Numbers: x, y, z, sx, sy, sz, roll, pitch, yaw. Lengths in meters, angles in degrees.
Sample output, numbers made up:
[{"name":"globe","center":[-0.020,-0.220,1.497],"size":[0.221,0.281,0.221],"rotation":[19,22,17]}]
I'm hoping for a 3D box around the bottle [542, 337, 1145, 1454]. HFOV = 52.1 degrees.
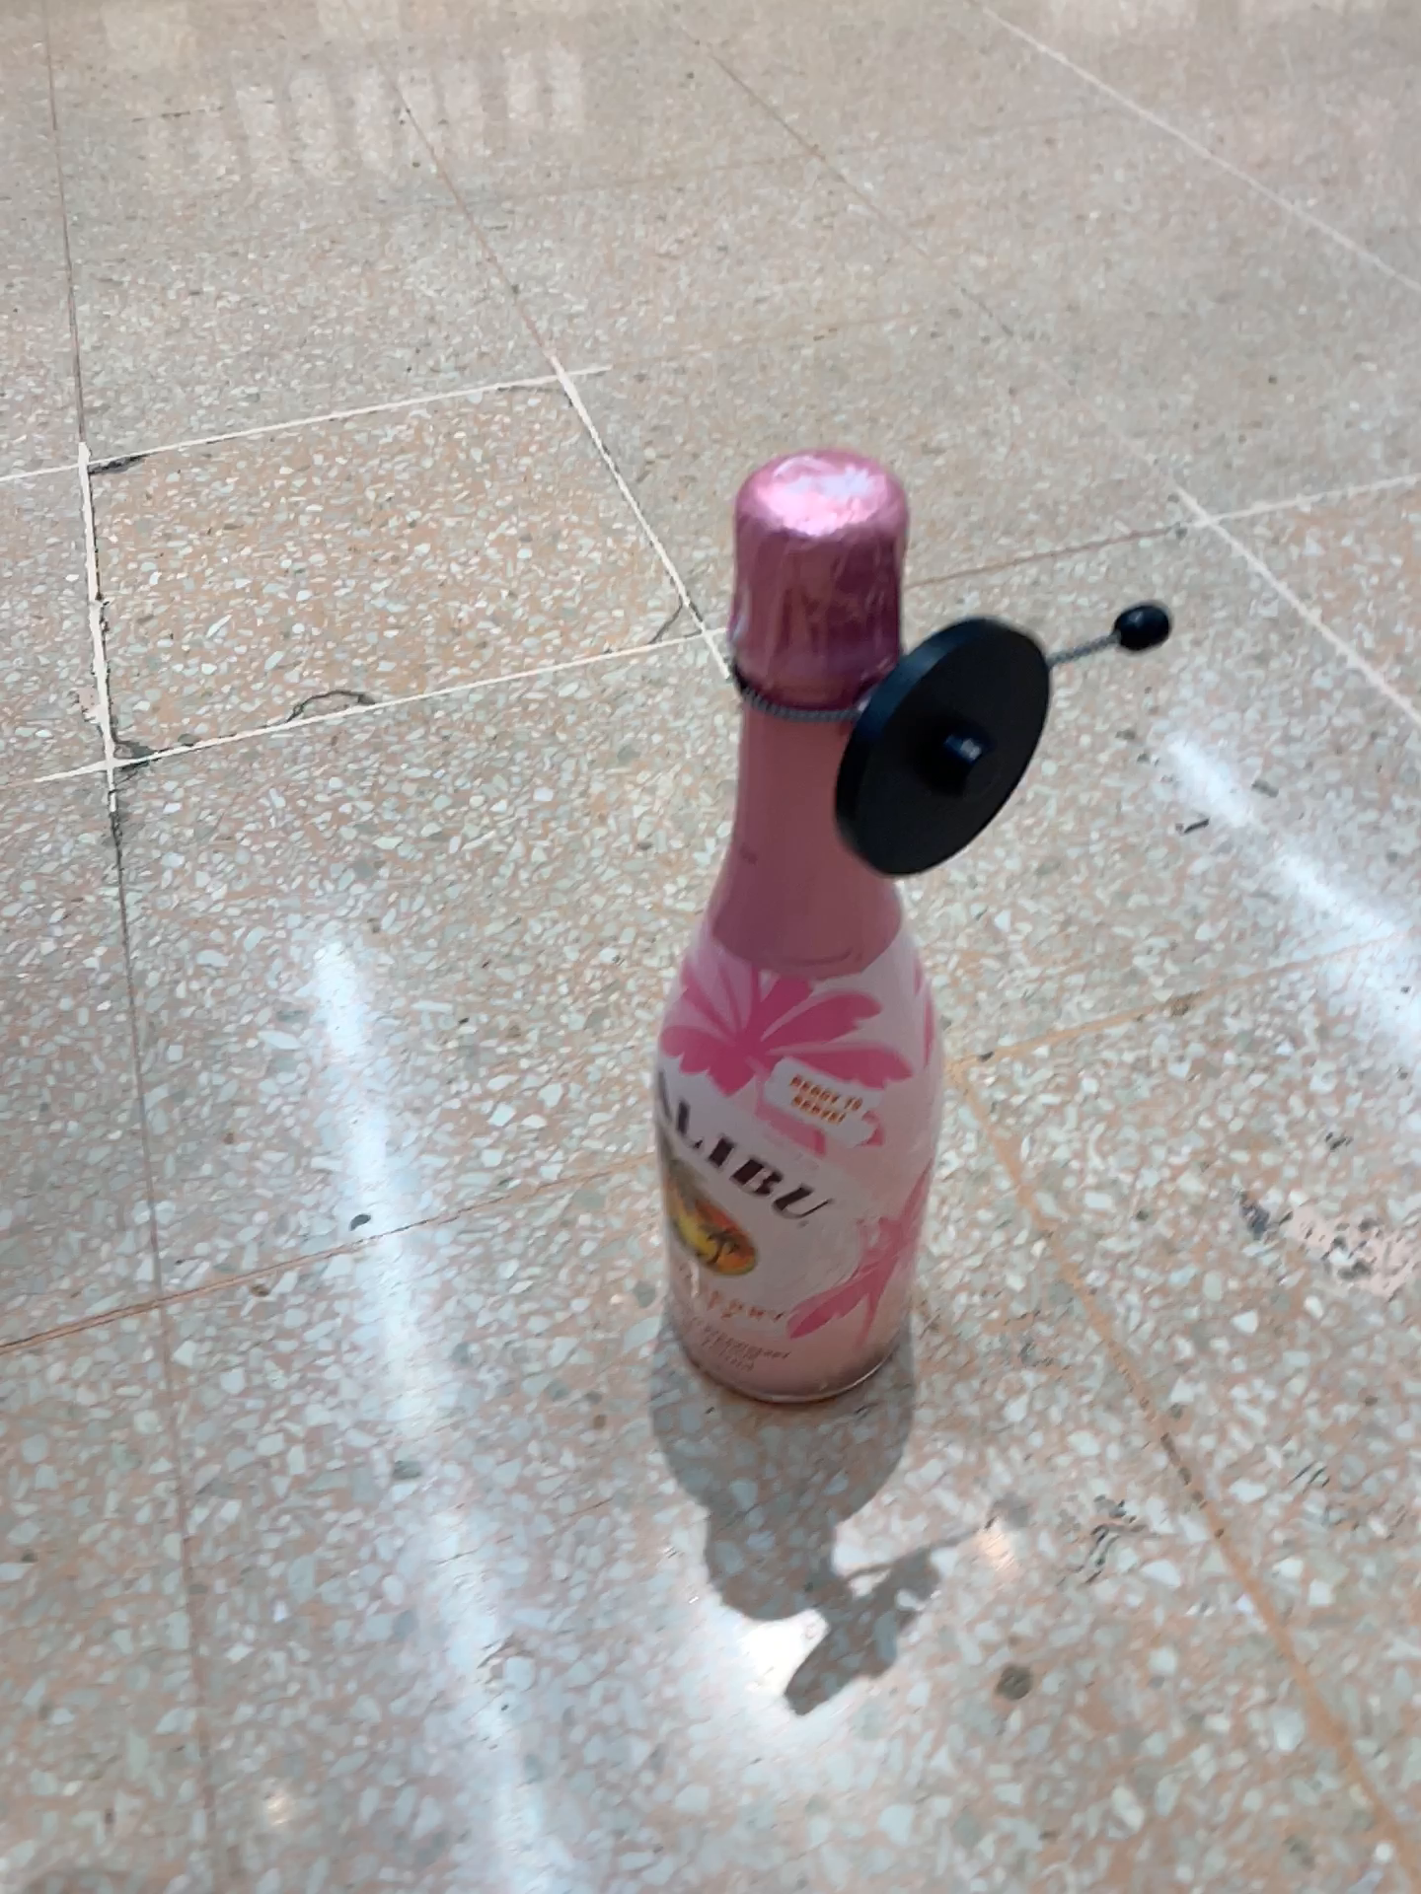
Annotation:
[{"name":"bottle","center":[0.026,0.015,0.386],"size":[0.080,0.307,0.080],"rotation":[-1,47,1]}]
